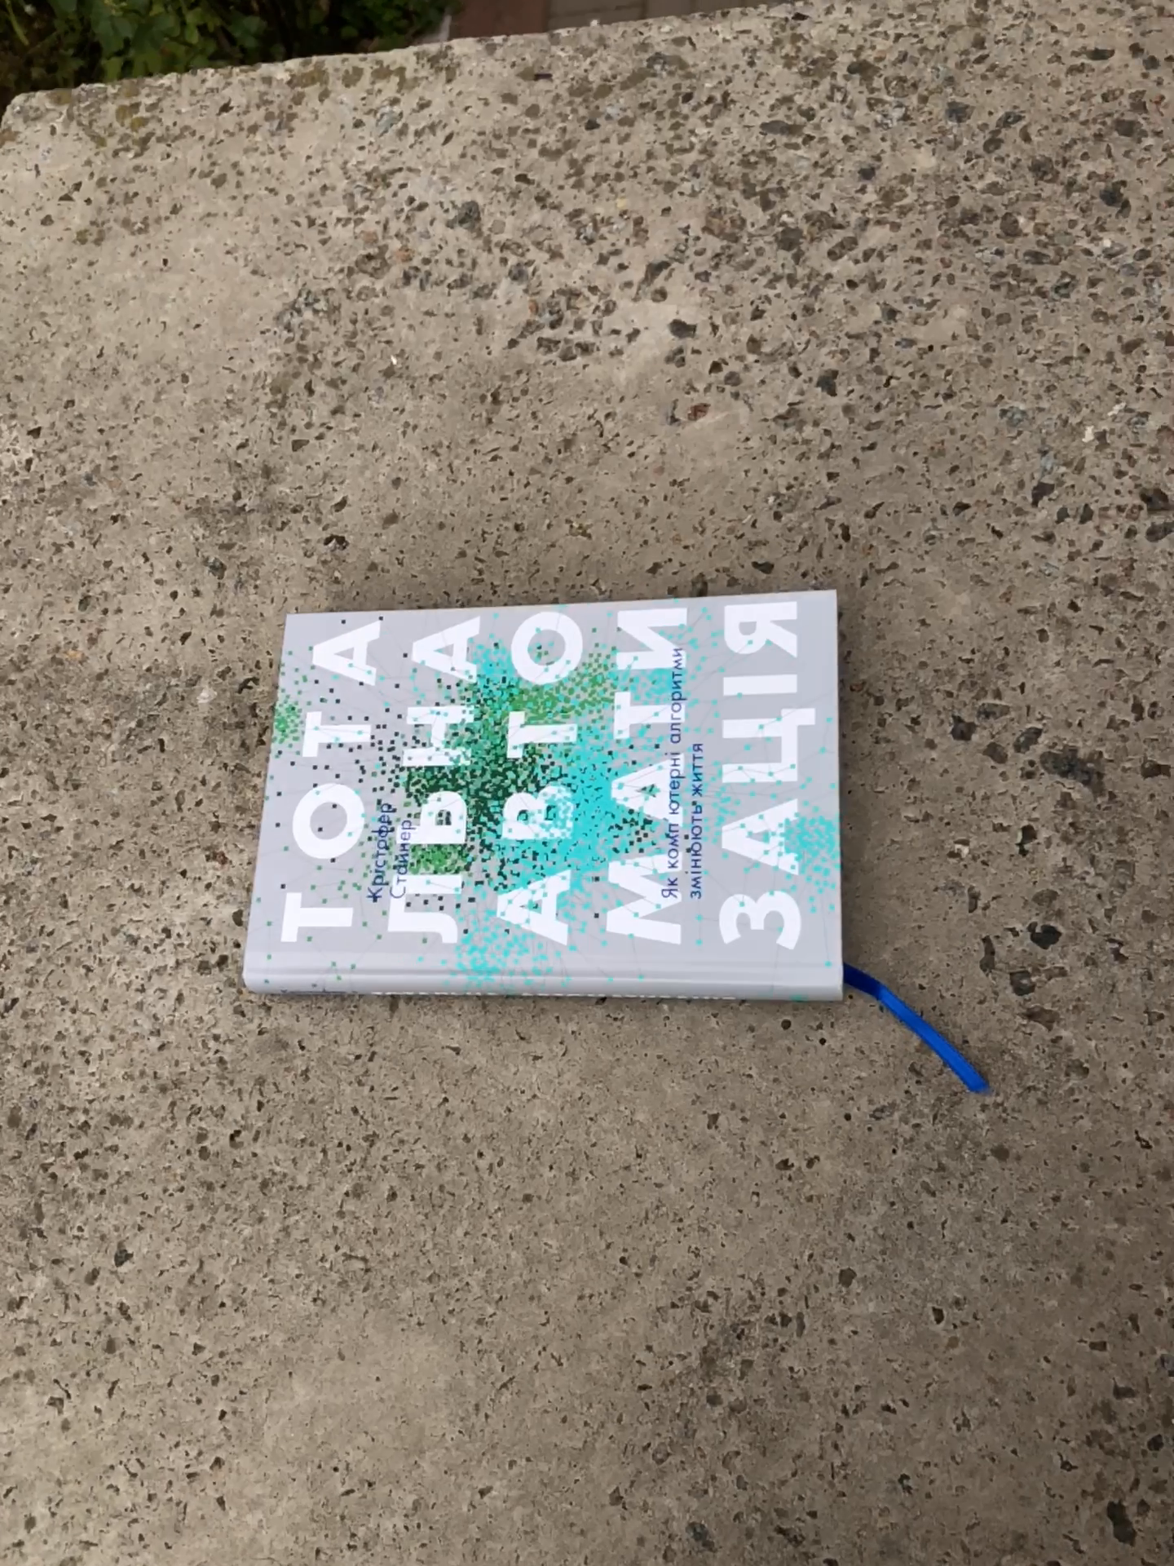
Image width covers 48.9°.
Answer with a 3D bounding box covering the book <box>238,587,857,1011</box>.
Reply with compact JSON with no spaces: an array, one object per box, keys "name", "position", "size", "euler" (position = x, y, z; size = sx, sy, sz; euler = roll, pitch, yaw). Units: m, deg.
[{"name":"book","position":[-0.014,0.007,0.485],"size":[0.220,0.030,0.150],"euler":[-1,73,11]}]
